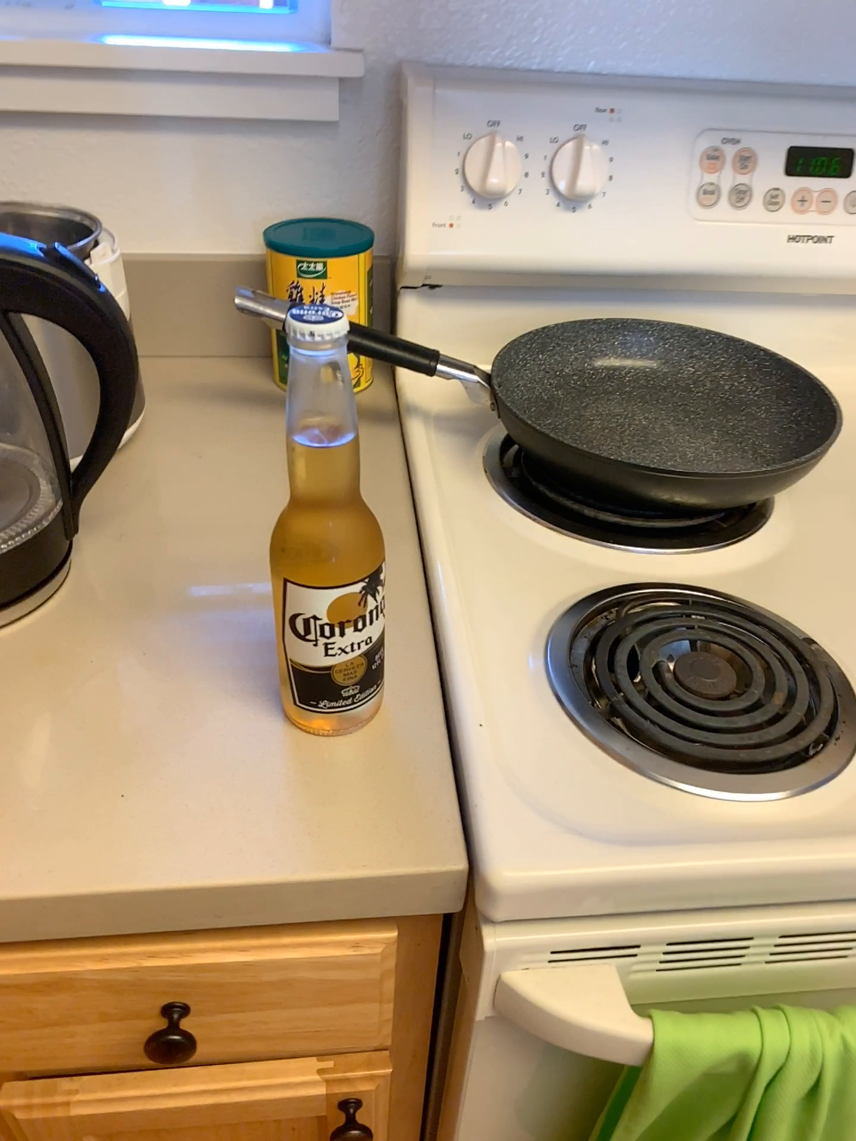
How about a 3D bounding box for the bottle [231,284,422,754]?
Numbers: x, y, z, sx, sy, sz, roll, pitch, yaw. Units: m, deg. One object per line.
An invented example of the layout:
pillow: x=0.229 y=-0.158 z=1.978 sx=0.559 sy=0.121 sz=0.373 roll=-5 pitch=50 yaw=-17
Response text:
bottle: x=-0.050 y=-0.017 z=0.440 sx=0.059 sy=0.226 sz=0.064 roll=2 pitch=36 yaw=-2
